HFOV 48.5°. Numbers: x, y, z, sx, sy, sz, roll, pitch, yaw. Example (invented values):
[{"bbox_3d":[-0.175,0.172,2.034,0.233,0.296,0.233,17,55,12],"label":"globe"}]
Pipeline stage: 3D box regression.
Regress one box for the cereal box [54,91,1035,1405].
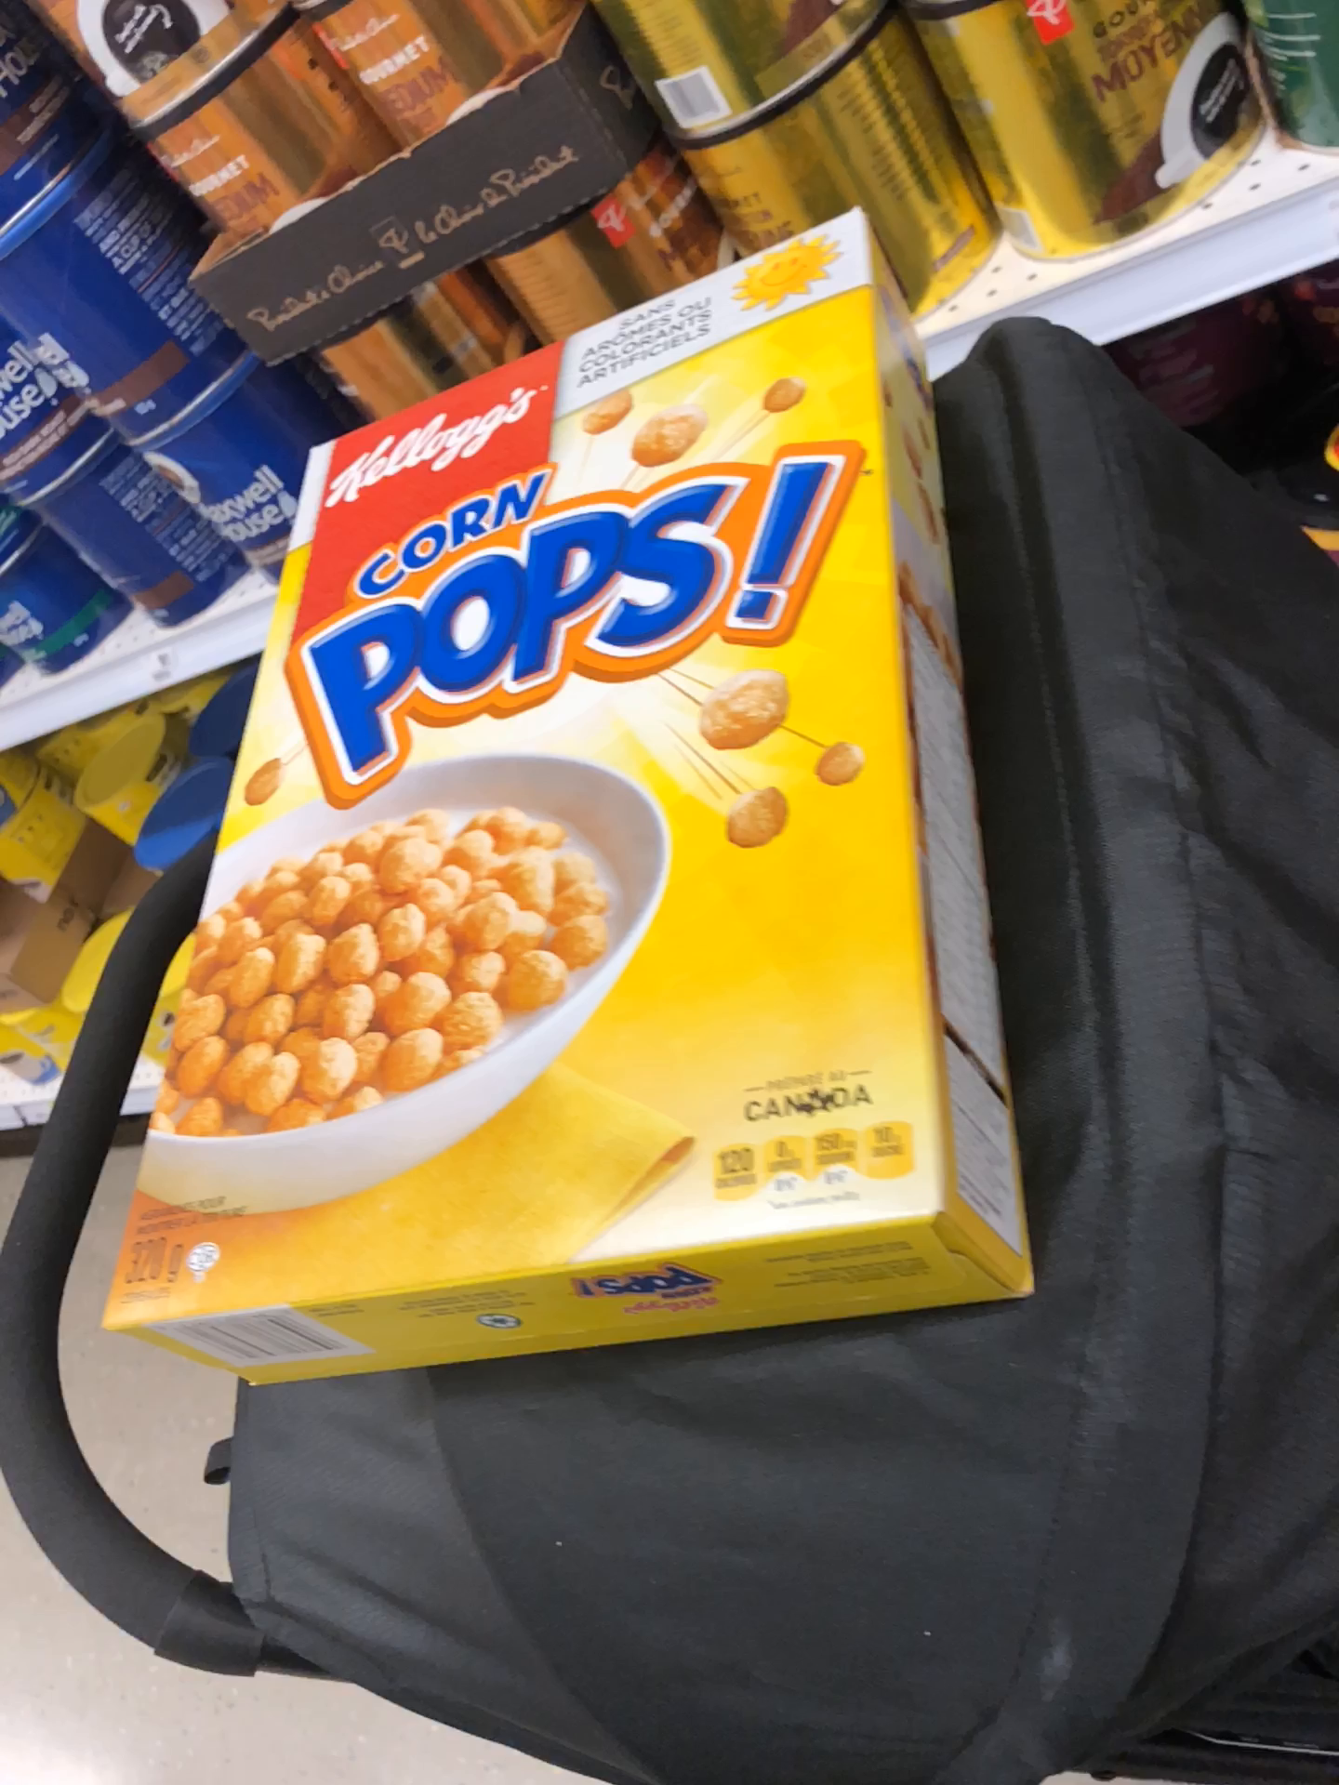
[{"bbox_3d":[-0.028,-0.047,0.389,0.201,0.060,0.321,-16,54,25],"label":"cereal box"}]
